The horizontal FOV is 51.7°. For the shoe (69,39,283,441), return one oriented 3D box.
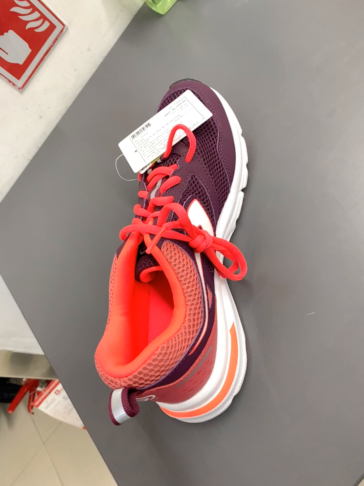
[{"bbox_3d":[0.002,-0.003,0.309,0.110,0.100,0.280,-12,65,29],"label":"shoe"}]
